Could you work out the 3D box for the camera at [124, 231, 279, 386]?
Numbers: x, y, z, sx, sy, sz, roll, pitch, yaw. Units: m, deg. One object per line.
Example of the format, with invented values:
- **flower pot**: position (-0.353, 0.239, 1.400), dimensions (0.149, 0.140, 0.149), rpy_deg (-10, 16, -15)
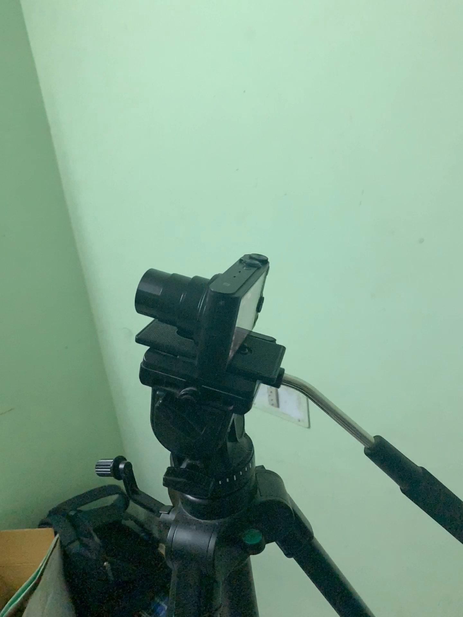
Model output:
- **camera**: position (-0.016, -0.007, 0.321), dimensions (0.068, 0.060, 0.102), rpy_deg (15, 22, 11)
